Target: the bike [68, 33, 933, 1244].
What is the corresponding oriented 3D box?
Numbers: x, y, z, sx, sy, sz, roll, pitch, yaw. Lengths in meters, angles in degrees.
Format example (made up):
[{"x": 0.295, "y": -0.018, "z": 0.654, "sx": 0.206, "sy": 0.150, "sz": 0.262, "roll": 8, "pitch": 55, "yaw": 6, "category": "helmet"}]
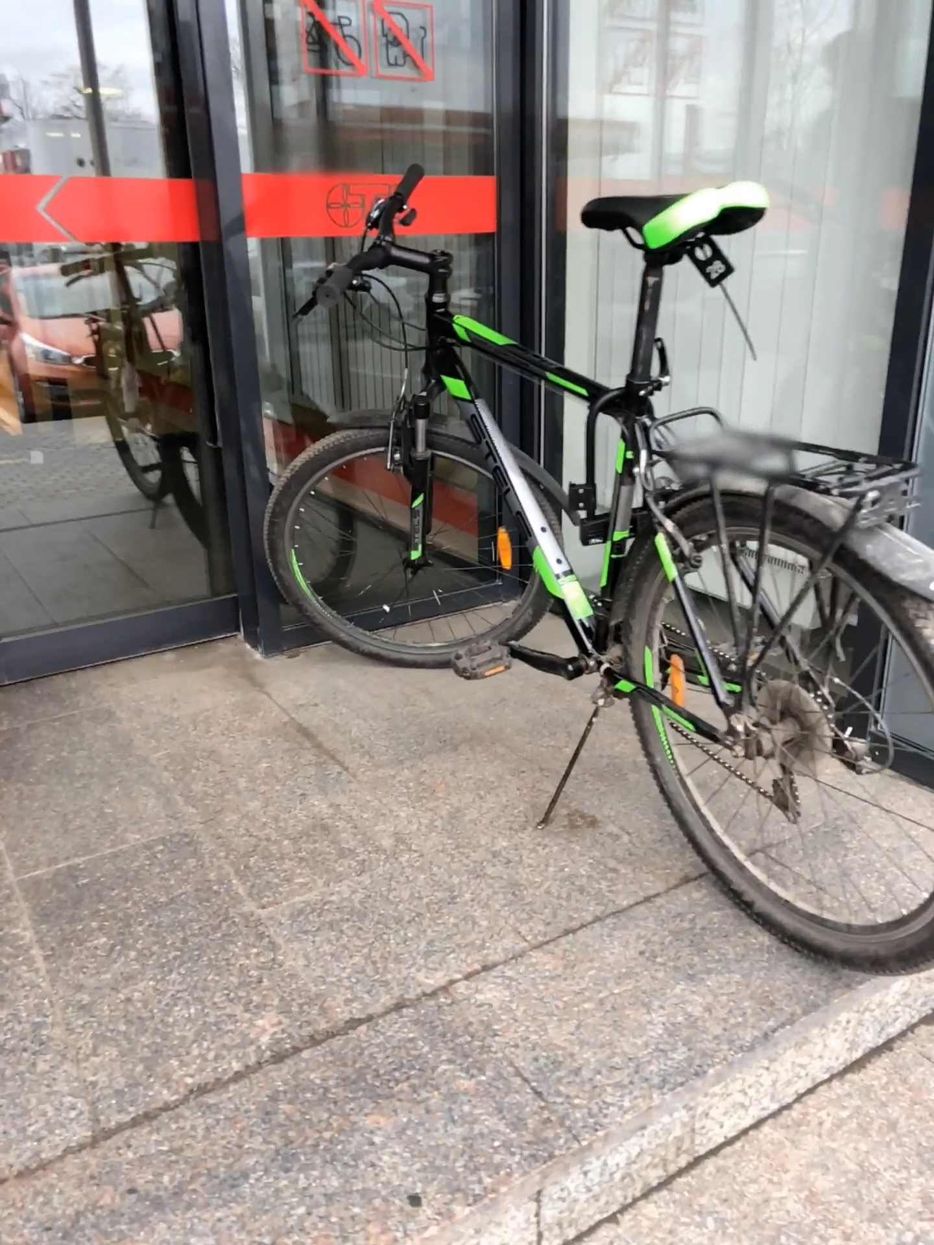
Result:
[{"x": 0.055, "y": -0.139, "z": 1.564, "sx": 0.629, "sy": 1.052, "sz": 1.549, "roll": -16, "pitch": 25, "yaw": -36, "category": "bike"}]
